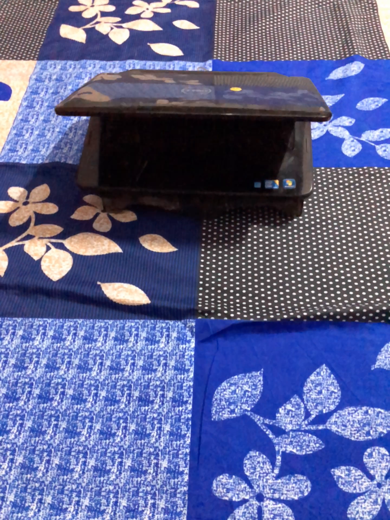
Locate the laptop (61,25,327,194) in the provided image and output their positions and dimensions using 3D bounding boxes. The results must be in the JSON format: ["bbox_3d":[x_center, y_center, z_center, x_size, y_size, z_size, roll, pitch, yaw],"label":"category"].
[{"bbox_3d":[0.005,-0.240,0.673,0.362,0.092,0.236,3,63,3],"label":"laptop"}]
